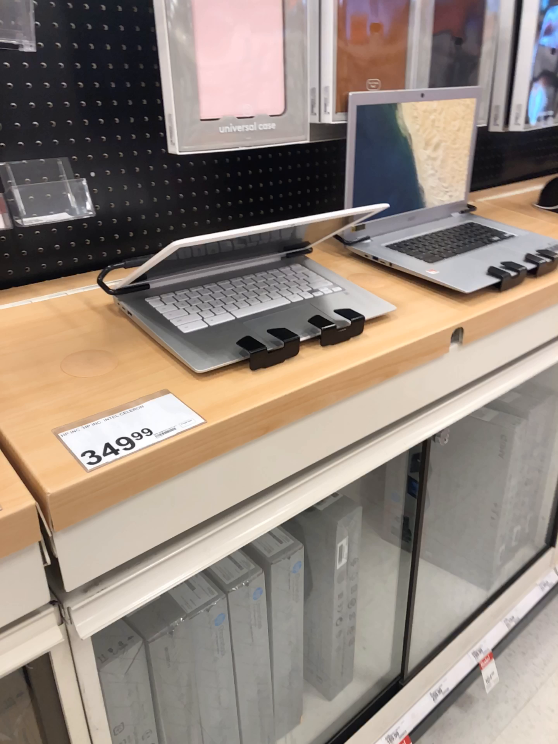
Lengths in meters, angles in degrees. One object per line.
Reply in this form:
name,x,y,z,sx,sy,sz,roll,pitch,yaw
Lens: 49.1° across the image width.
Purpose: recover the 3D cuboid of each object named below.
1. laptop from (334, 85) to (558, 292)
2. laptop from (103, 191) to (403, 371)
laptop,0.334,-0.345,1.065,0.389,0.244,0.273,-22,36,-37
laptop,-0.027,-0.143,0.822,0.330,0.100,0.216,-19,39,-34
